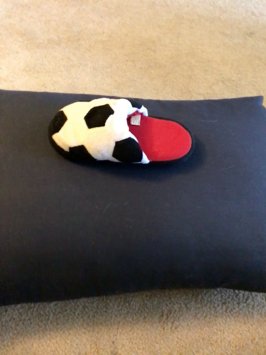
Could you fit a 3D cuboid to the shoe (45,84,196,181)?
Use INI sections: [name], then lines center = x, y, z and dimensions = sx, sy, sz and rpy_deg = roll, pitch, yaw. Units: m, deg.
[shoe]
center = -0.016, -0.071, 0.465
dimensions = 0.213, 0.072, 0.108
rpy_deg = 7, 57, -2
